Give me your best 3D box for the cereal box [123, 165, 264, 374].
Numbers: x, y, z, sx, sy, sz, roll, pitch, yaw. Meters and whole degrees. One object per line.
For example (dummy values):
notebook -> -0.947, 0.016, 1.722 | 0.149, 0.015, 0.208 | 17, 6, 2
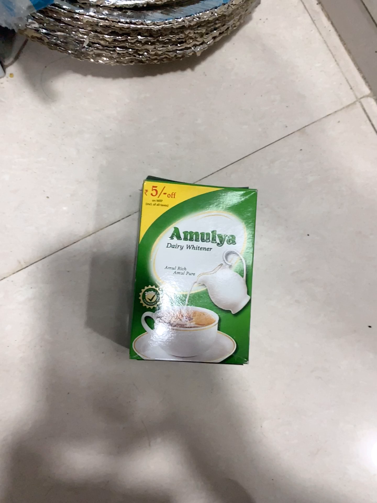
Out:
cereal box -> 0.002, 0.015, 0.301 | 0.090, 0.060, 0.140 | 5, 84, -7
